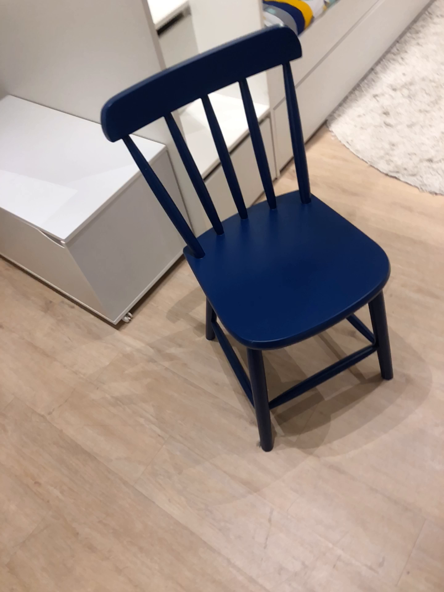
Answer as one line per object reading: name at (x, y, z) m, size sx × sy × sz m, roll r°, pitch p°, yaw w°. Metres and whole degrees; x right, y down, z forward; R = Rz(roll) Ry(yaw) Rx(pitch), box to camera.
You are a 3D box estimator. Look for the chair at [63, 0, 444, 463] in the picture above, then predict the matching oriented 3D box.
chair at (0.107, -0.109, 1.028) m, size 0.460 × 0.805 × 0.483 m, roll -27°, pitch 51°, yaw -8°
